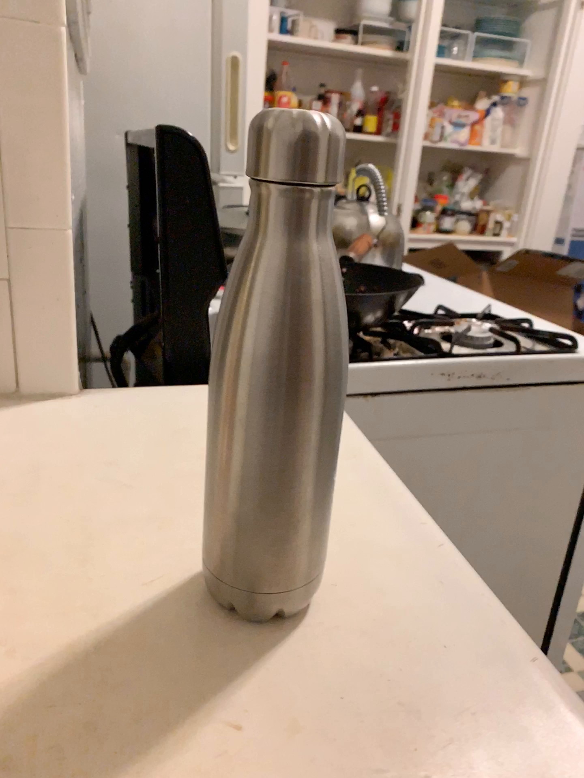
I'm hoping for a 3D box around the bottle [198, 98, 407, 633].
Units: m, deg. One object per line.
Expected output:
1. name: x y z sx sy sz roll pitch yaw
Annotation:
1. bottle: -0.007 -0.003 0.302 0.070 0.249 0.070 5 22 -2
